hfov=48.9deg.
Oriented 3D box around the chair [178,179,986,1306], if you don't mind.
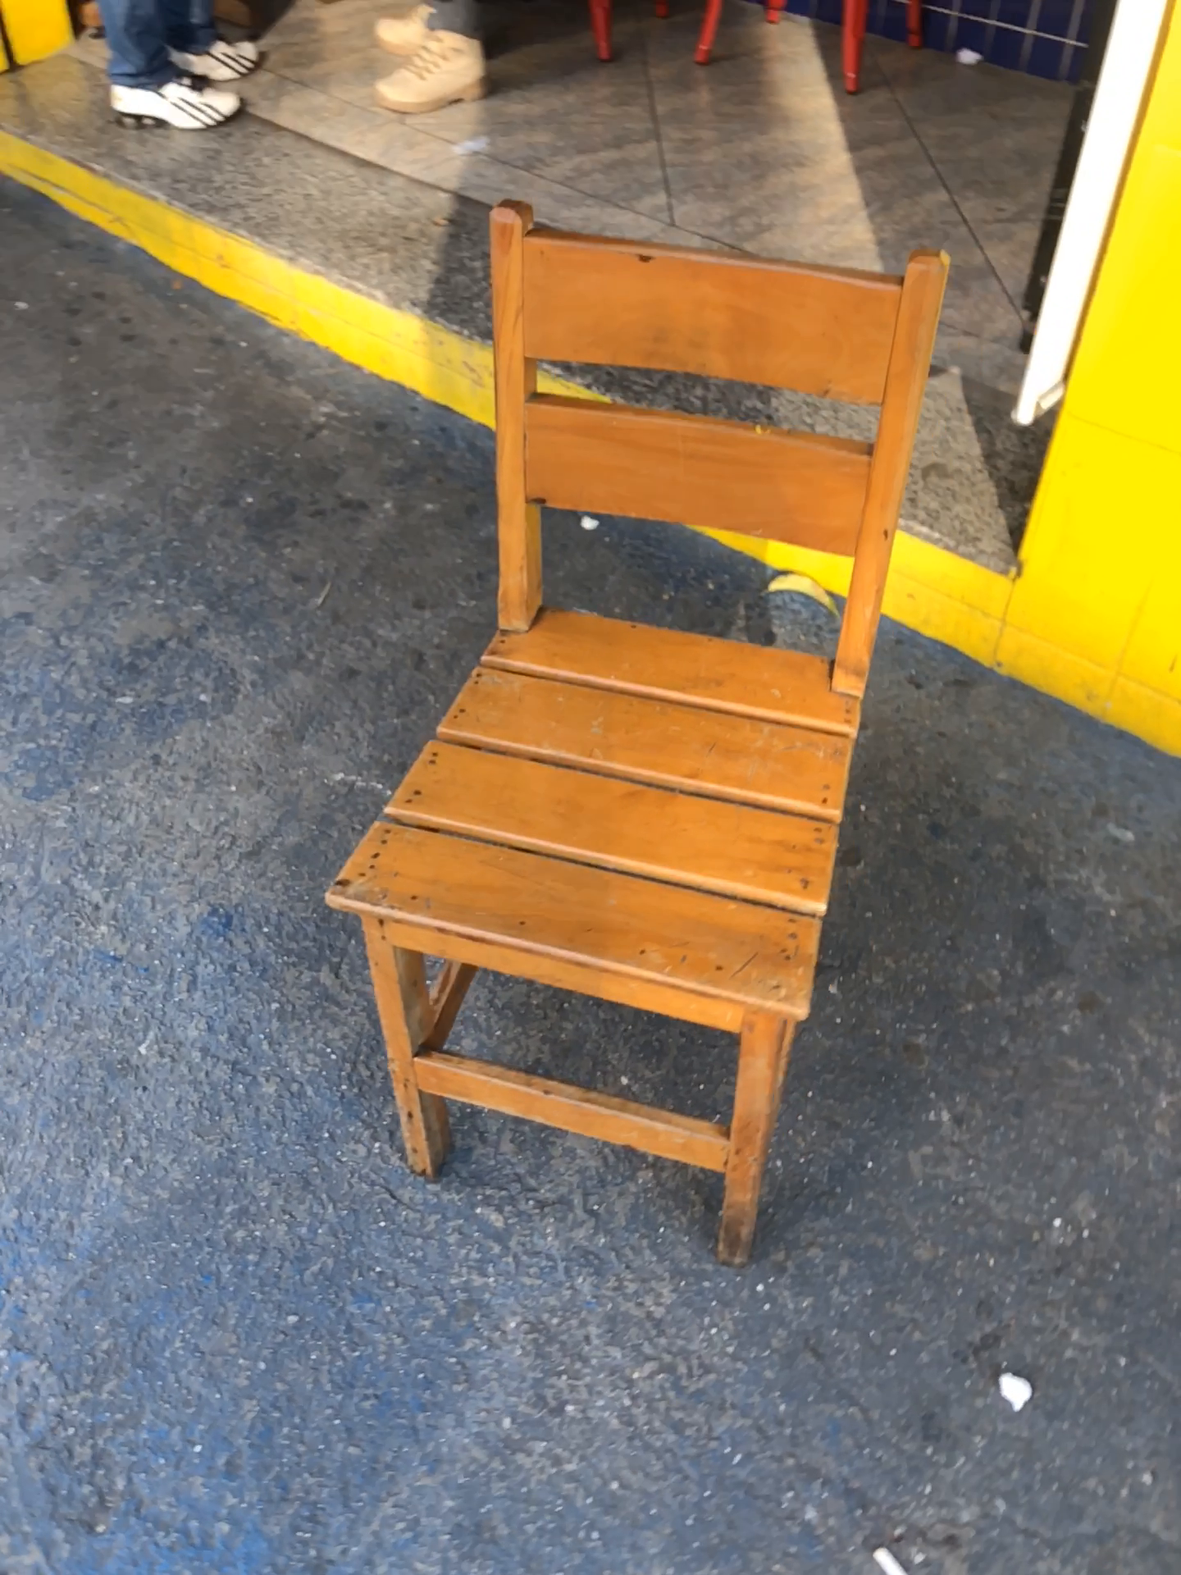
[{"bbox_3d":[0.028,0.000,1.109,0.400,0.804,0.443,12,46,12],"label":"chair"}]
